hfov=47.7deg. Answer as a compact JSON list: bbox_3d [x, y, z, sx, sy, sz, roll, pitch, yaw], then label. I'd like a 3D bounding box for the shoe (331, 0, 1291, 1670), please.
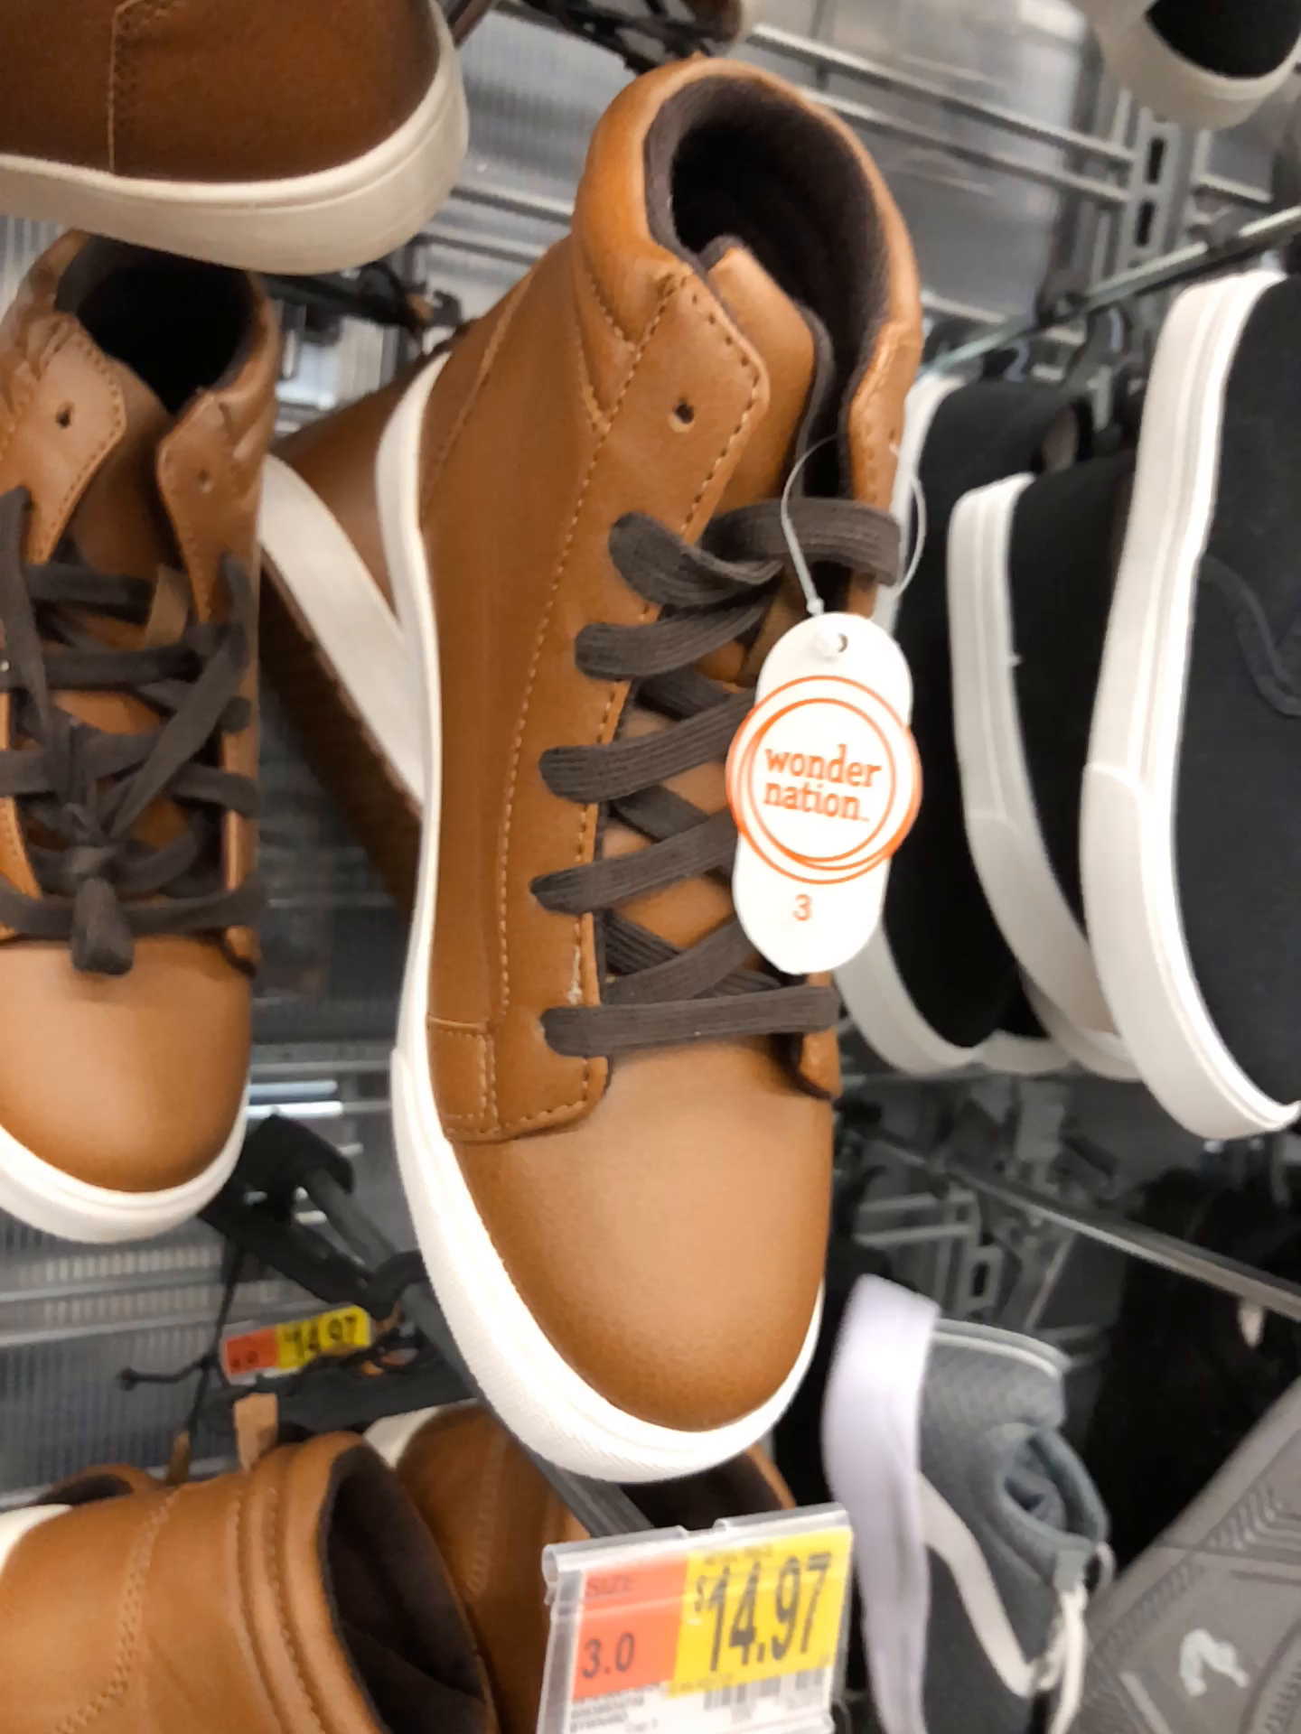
[{"bbox_3d":[0.015,-0.011,0.256,0.096,0.227,0.110,1,-11,-32],"label":"shoe"}]
